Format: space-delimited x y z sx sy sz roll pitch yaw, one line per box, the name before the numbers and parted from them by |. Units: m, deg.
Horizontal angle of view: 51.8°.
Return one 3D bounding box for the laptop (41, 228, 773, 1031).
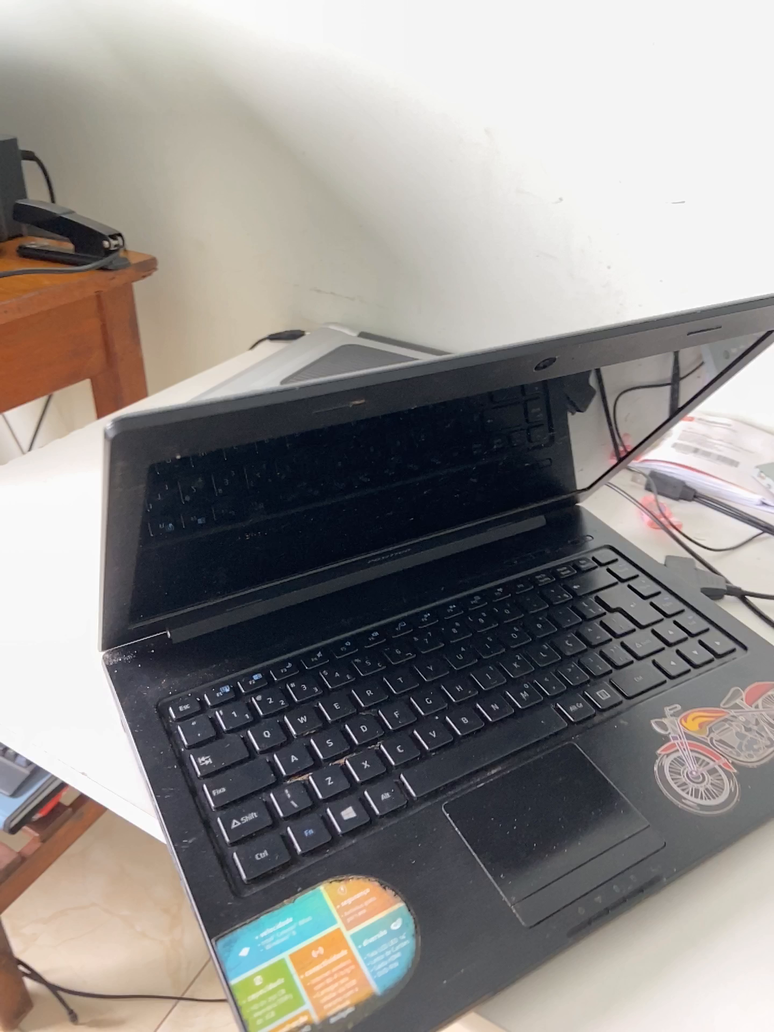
laptop | 0.059 0.010 0.359 0.330 0.189 0.234 -16 37 -26
